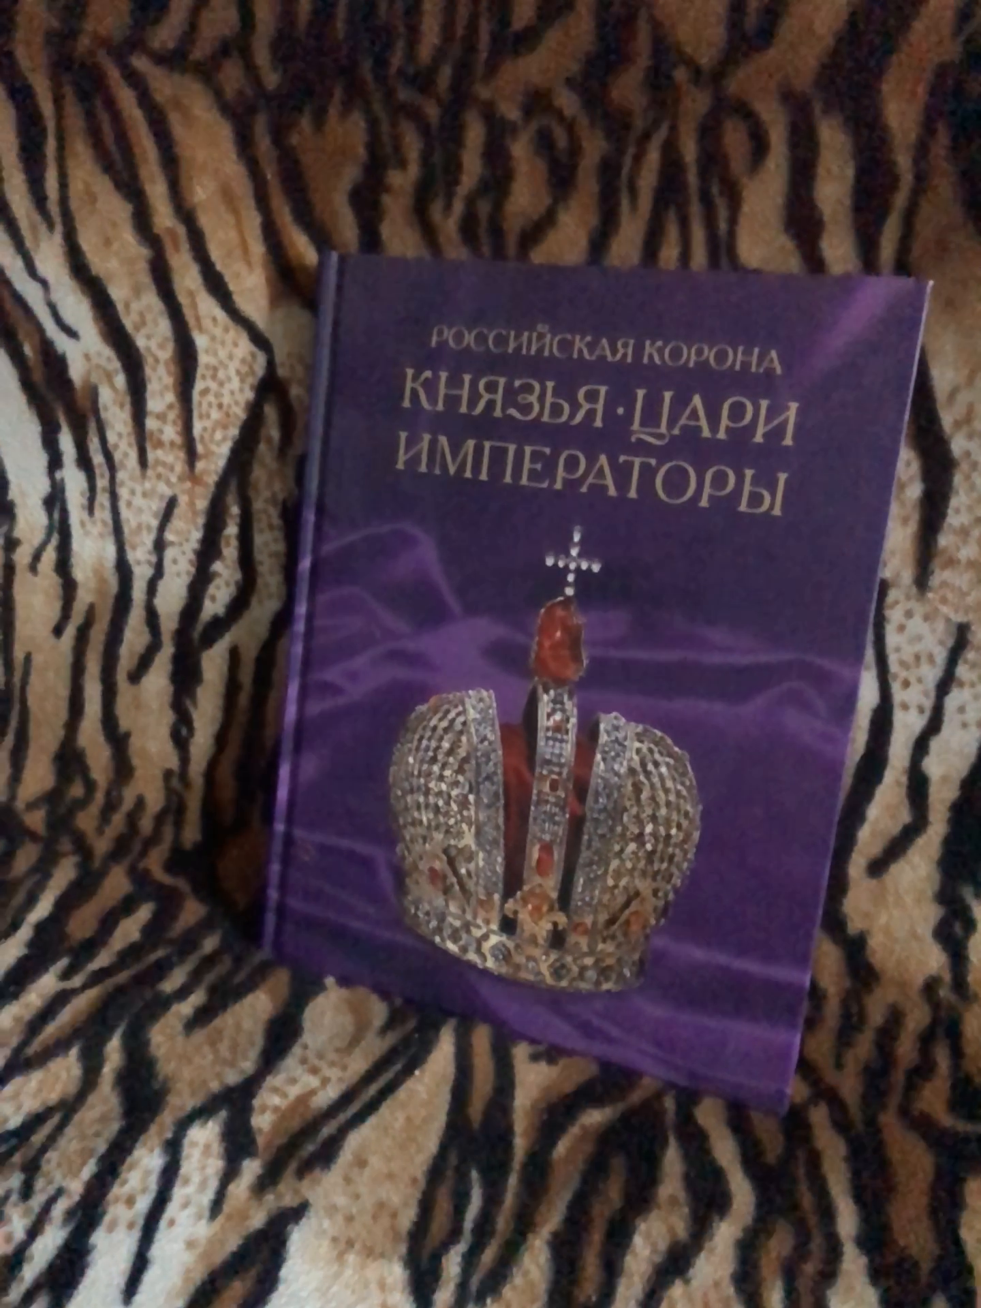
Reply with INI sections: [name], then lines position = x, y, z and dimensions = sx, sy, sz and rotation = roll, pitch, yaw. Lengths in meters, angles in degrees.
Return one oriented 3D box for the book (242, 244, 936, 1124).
[book]
position = 0.021, 0.001, 0.400
dimensions = 0.223, 0.280, 0.035
rotation = 10, 10, 22
